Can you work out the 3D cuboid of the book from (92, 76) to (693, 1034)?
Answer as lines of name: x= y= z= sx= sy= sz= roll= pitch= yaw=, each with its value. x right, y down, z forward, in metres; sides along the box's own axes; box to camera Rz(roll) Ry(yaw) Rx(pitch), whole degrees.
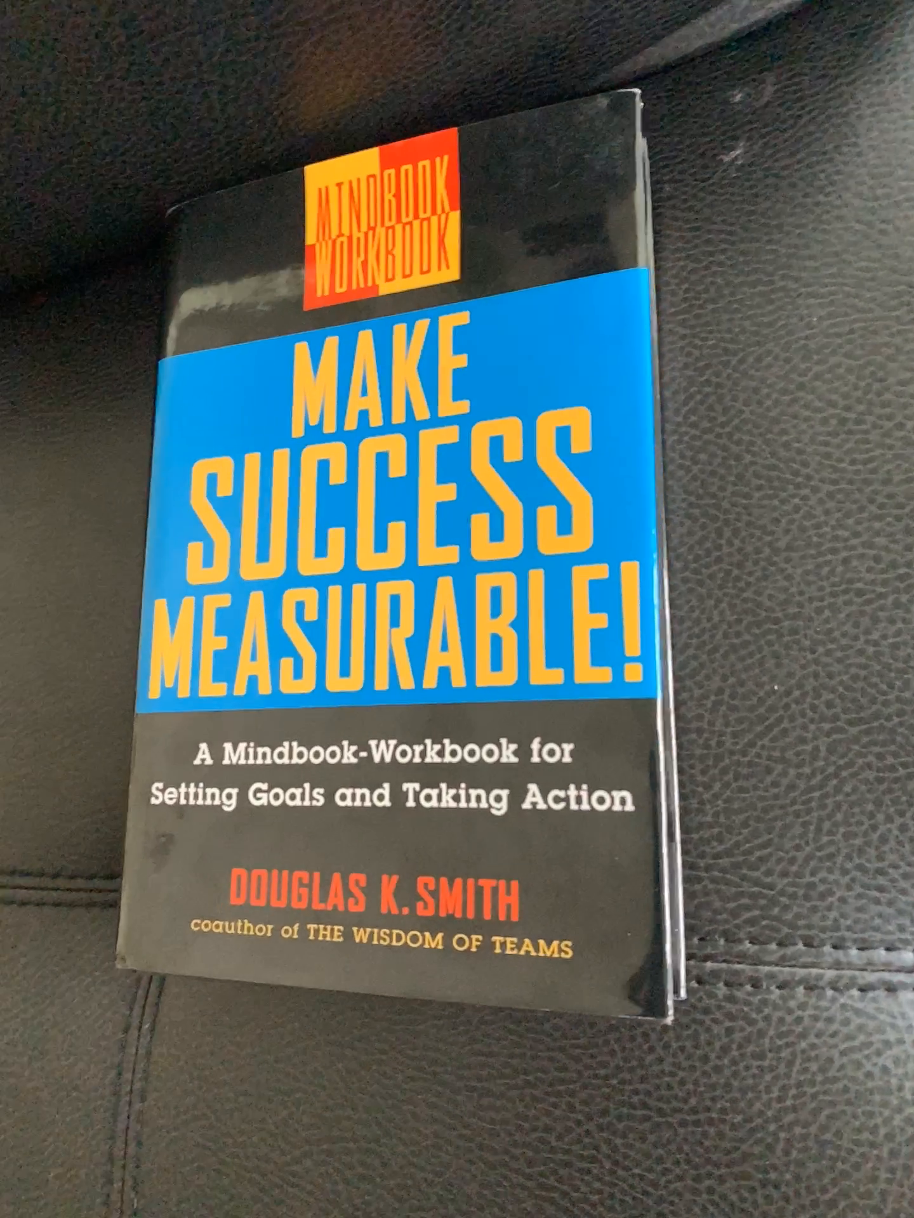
book: x=-0.022 y=-0.017 z=0.274 sx=0.164 sy=0.030 sz=0.240 roll=-4 pitch=79 yaw=22
